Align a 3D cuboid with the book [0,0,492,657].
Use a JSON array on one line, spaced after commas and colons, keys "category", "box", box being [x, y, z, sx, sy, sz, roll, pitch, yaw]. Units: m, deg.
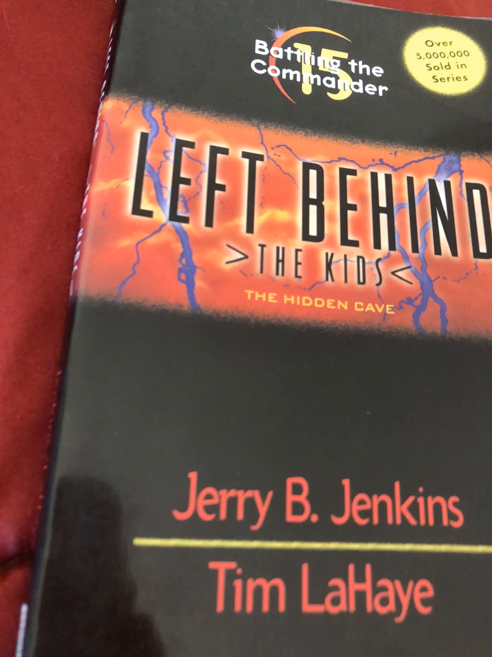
[{"category": "book", "box": [0.019, -0.006, 0.128, 0.111, 0.026, 0.170, 7, 70, -13]}]
